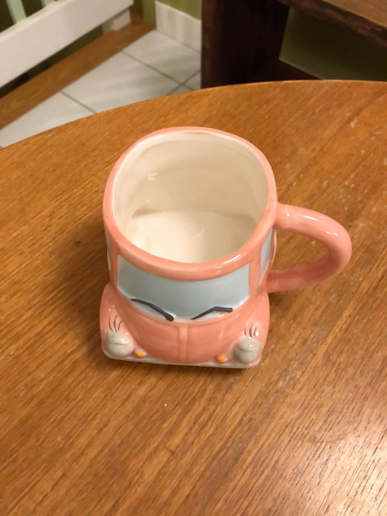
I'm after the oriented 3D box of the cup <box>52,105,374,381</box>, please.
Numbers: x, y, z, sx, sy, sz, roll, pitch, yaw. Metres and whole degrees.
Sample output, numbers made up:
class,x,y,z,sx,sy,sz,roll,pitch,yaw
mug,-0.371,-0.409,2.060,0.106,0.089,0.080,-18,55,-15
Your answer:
class,x,y,z,sx,sy,sz,roll,pitch,yaw
cup,0.011,-0.007,0.261,0.139,0.097,0.128,0,59,0
